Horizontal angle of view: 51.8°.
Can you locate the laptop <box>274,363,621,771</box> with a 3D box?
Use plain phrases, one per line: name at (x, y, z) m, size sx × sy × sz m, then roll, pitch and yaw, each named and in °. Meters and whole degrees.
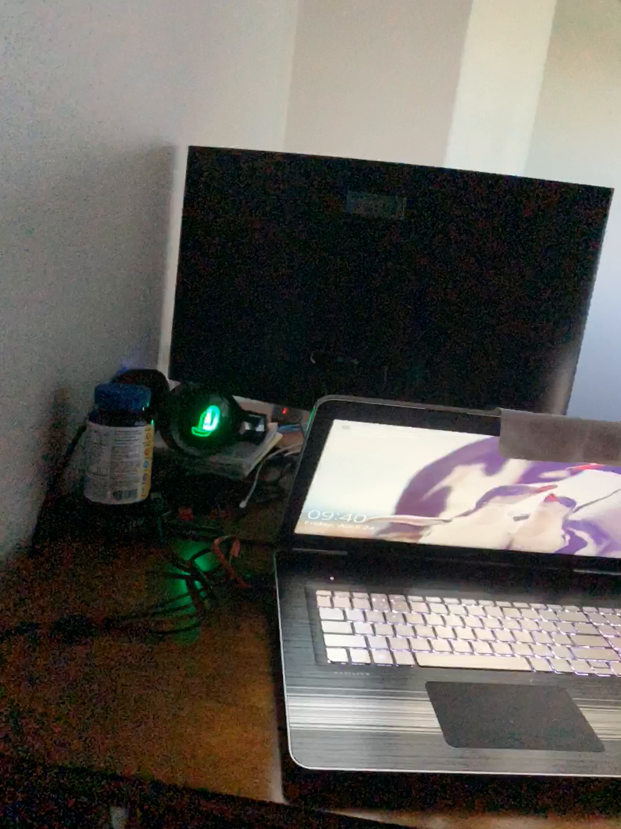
laptop at (0.184, 0.103, 0.525) m, size 0.393 × 0.187 × 0.258 m, roll 6°, pitch 16°, yaw -9°
